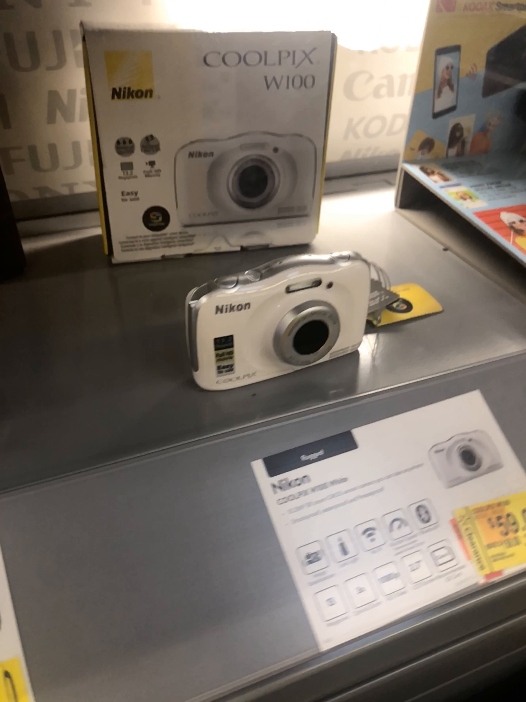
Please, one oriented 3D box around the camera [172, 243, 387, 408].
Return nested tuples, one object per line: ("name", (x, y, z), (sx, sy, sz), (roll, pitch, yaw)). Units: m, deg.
("camera", (0.010, -0.016, 0.322), (0.110, 0.060, 0.030), (-16, 40, -21))
